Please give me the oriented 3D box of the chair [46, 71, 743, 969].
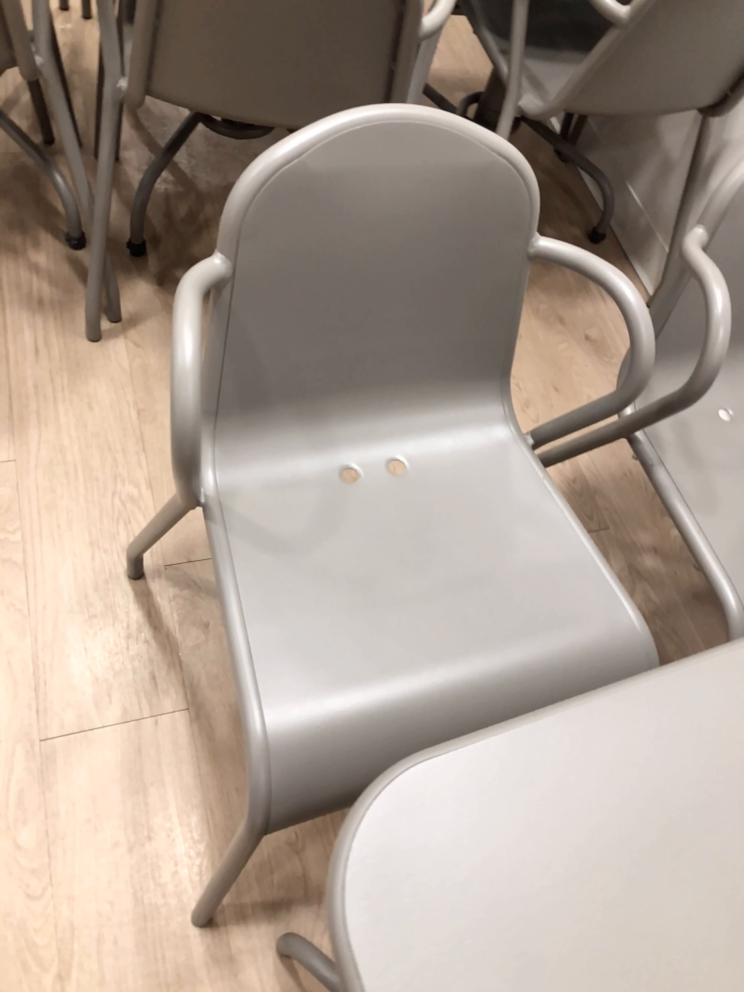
[{"bbox_3d":[-0.016,0.077,0.861,0.480,0.707,0.612,-9,62,-19],"label":"chair"}]
